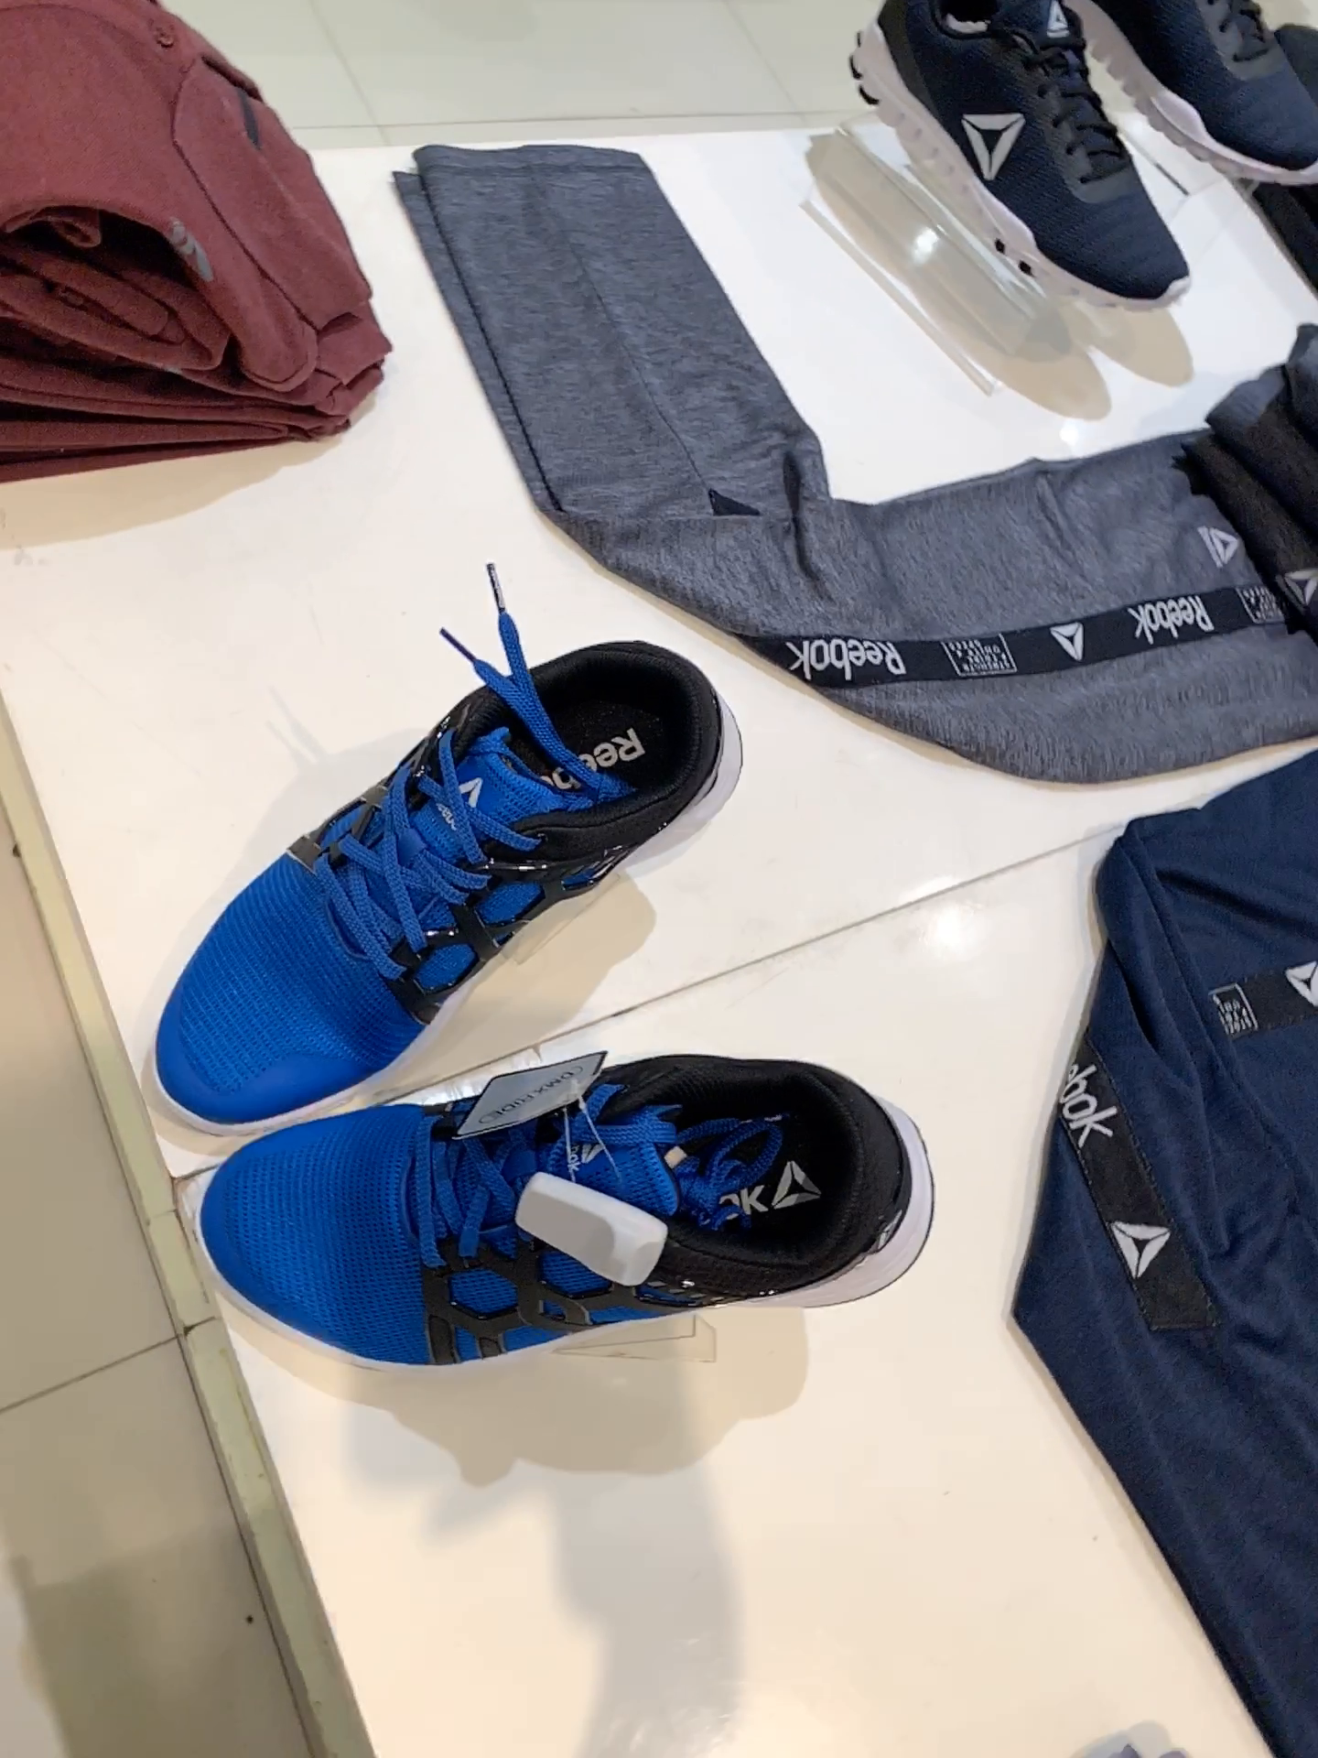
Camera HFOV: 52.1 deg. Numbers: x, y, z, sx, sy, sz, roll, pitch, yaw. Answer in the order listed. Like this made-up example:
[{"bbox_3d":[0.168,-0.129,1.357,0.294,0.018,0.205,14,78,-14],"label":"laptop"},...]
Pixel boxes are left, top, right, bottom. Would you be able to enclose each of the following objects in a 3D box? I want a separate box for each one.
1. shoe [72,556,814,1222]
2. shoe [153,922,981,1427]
[{"bbox_3d":[-0.079,0.005,0.554,0.280,0.100,0.100,-37,86,5],"label":"shoe"},{"bbox_3d":[-0.044,0.119,0.496,0.289,0.080,0.100,-20,63,18],"label":"shoe"}]
